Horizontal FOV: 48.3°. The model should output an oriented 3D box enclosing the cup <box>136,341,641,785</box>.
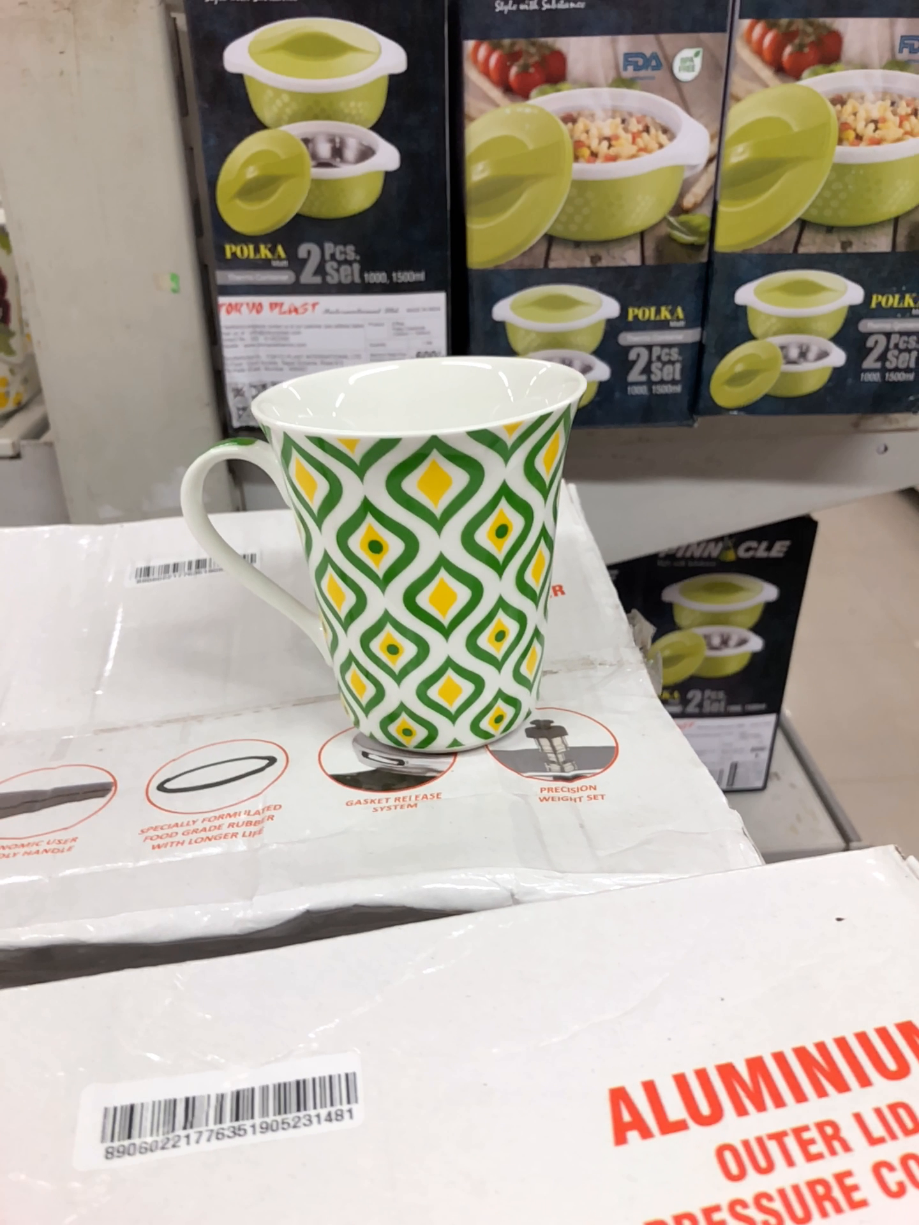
[{"bbox_3d":[-0.018,-0.020,0.282,0.110,0.090,0.090,-4,23,-5],"label":"cup"}]
